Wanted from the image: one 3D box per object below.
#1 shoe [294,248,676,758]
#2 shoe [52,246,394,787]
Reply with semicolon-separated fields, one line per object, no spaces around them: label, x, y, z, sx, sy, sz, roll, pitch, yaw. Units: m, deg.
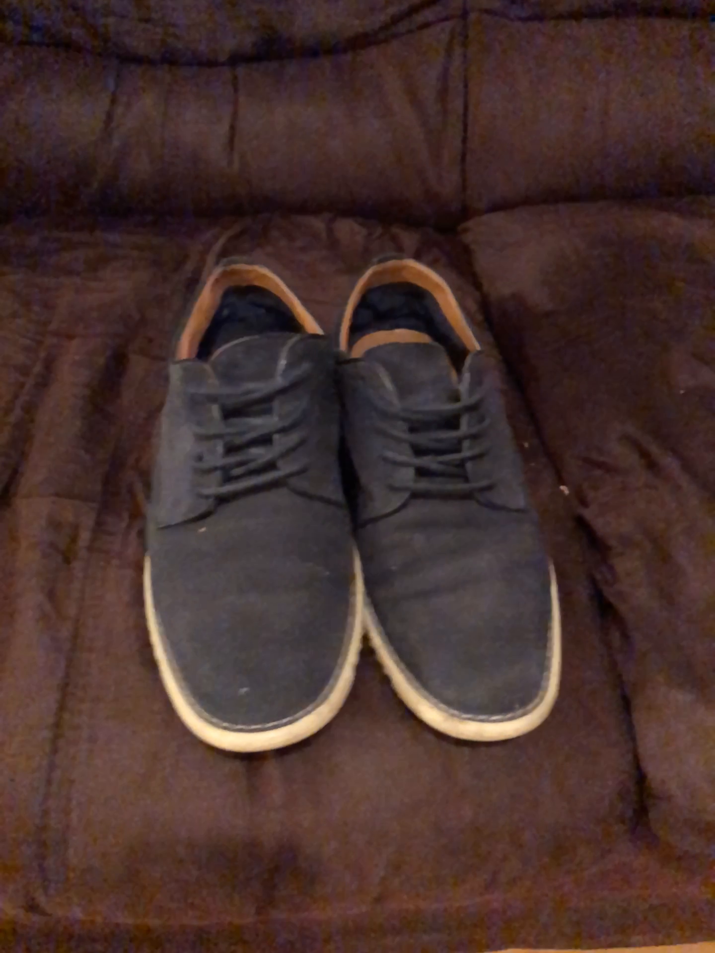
shoe;0.040;-0.013;0.425;0.120;0.079;0.292;-6;44;-6
shoe;-0.059;-0.004;0.420;0.120;0.099;0.292;-3;44;-4
